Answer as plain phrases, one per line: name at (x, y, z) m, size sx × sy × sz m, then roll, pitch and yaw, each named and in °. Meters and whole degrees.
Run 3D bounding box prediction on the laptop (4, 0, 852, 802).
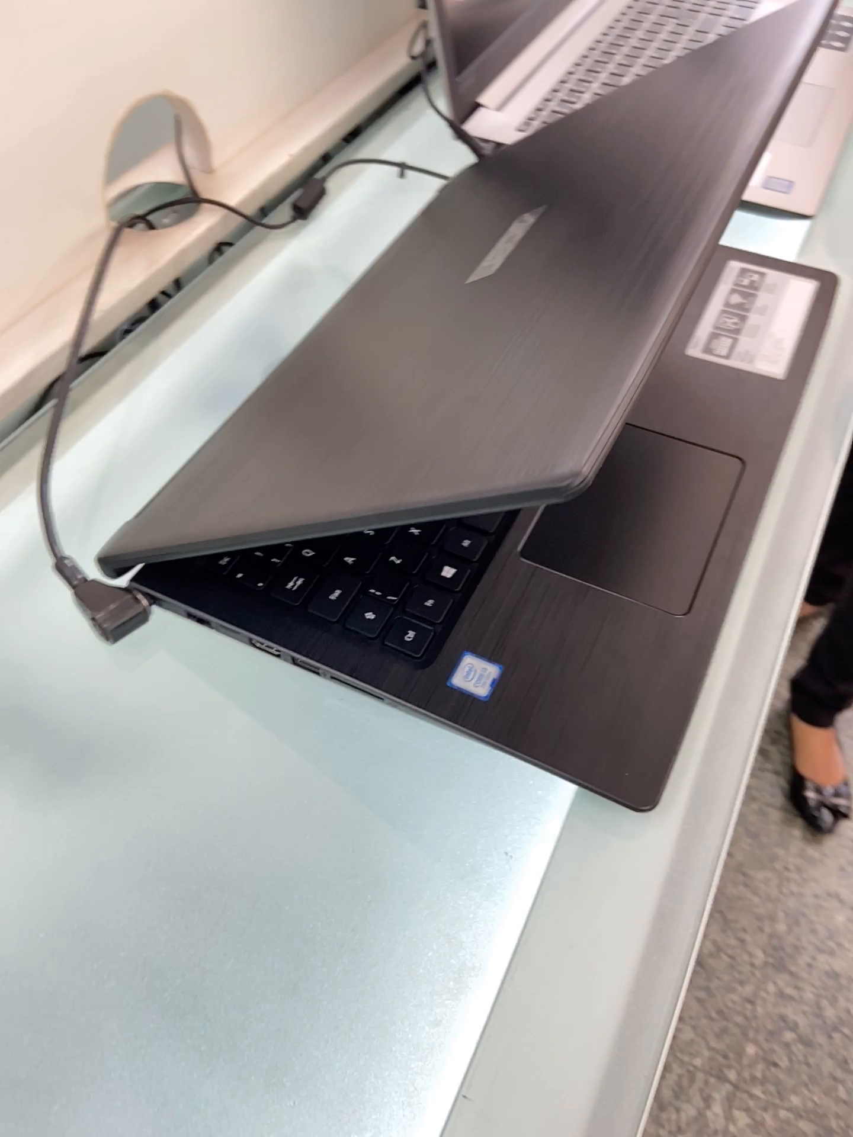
laptop at (0.056, -0.131, 0.394) m, size 0.232 × 0.142 × 0.369 m, roll 20°, pitch 54°, yaw 16°
